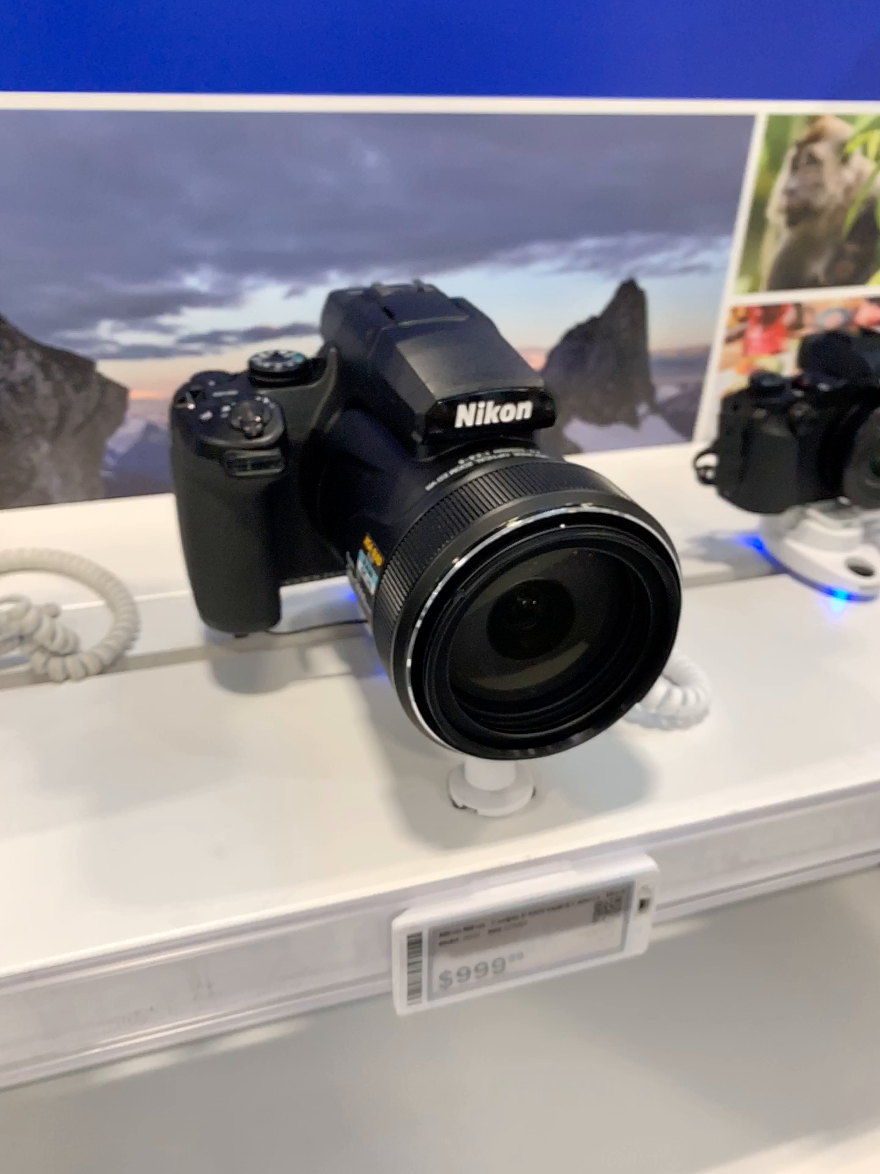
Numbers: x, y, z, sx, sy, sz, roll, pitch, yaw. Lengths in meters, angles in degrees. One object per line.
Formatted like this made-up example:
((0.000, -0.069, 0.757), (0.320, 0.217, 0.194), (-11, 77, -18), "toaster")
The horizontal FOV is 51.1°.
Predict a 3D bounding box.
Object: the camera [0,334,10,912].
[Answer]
((-0.241, -0.007, 0.294), (0.160, 0.099, 0.151), (-8, 30, -16), "camera")

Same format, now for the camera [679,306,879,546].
((0.193, -0.083, 0.459), (0.120, 0.089, 0.060), (-11, 31, -20), "camera")

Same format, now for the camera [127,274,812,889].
((-0.016, -0.032, 0.331), (0.160, 0.109, 0.221), (-9, 30, -17), "camera")
